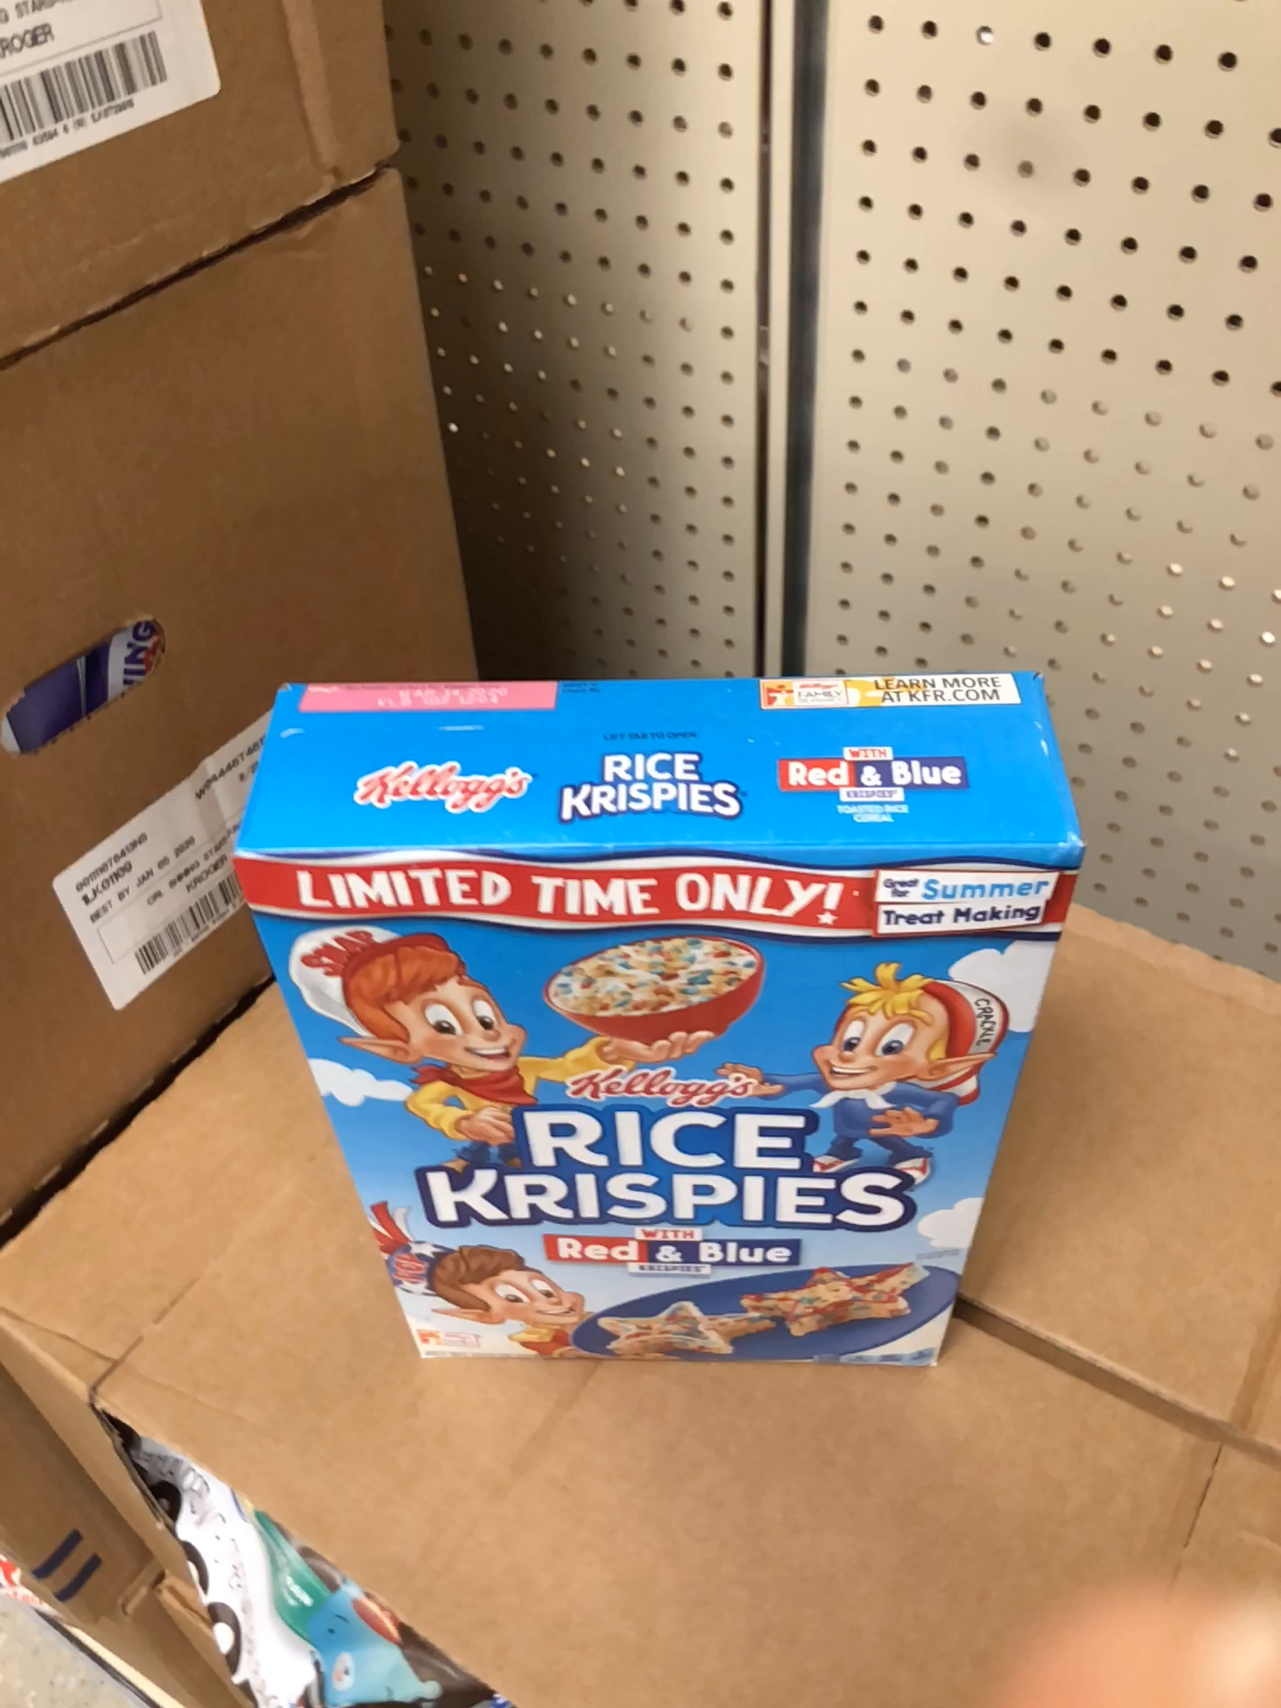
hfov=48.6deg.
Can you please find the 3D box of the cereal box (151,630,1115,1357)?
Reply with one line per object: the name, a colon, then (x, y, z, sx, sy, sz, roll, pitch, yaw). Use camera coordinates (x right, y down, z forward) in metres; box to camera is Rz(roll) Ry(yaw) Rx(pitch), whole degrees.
cereal box: (0.005, 0.063, 0.419, 0.200, 0.279, 0.060, 0, 49, 4)
